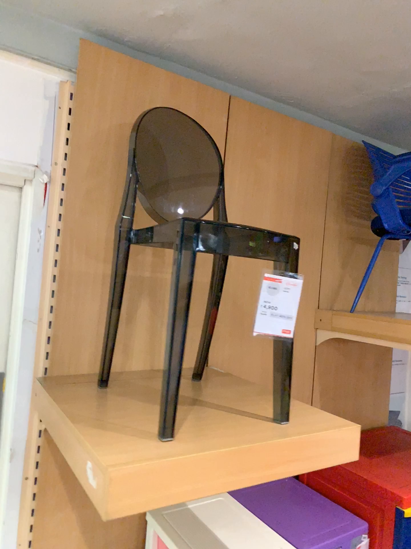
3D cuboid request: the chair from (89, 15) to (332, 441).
[{"bbox_3d":[-0.008,-0.091,1.139,0.400,0.850,0.470,5,-2,-34],"label":"chair"}]
